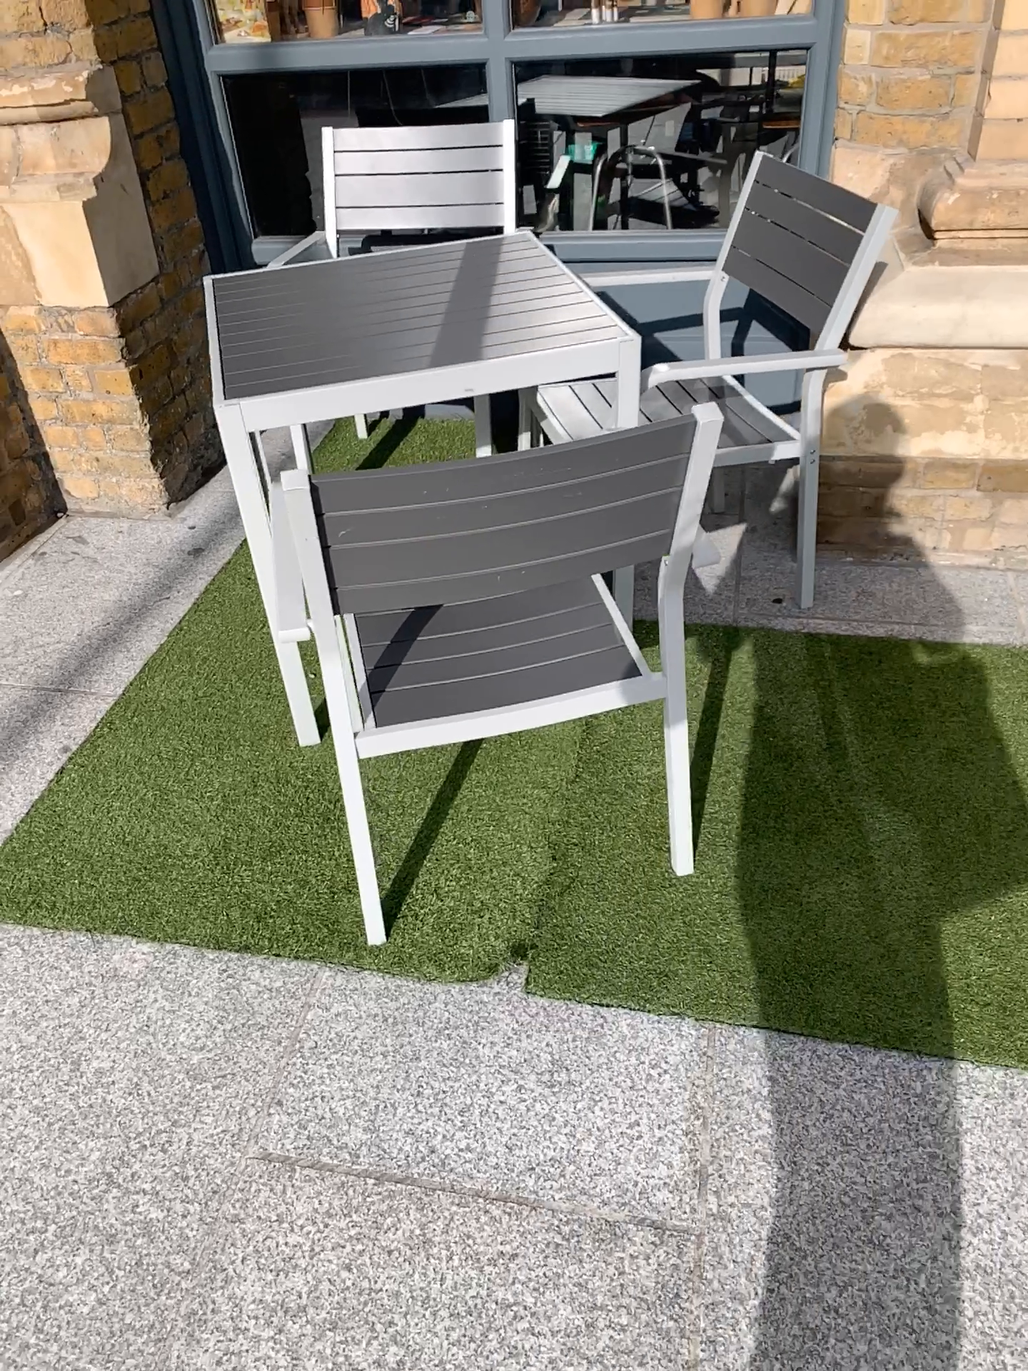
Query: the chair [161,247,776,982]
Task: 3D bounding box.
[{"bbox_3d":[-0.088,-0.139,1.643,0.681,0.801,0.652,-14,38,-11],"label":"chair"}]
